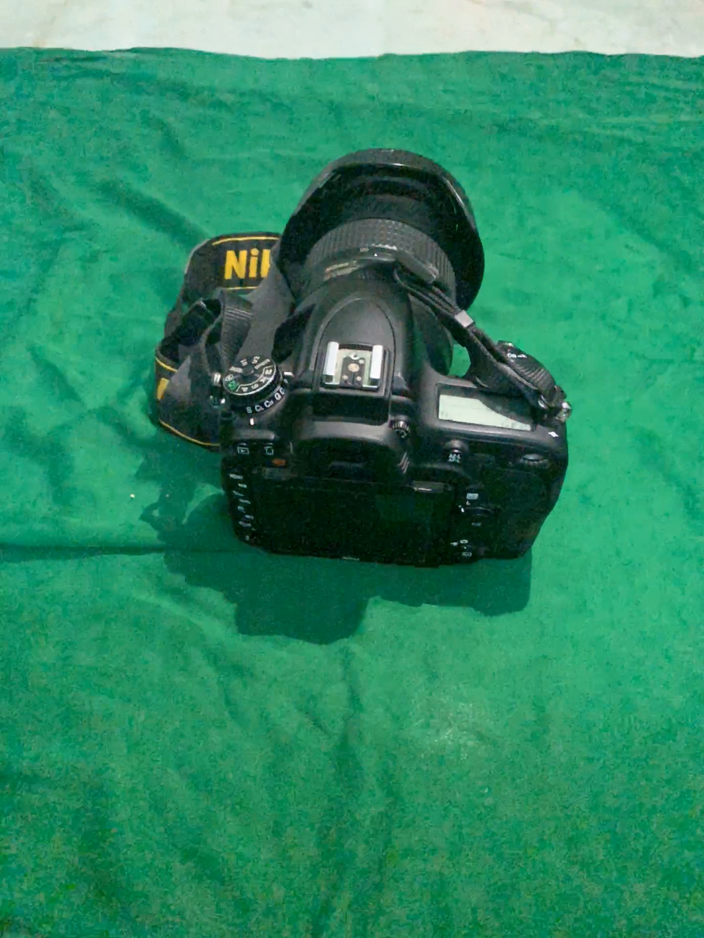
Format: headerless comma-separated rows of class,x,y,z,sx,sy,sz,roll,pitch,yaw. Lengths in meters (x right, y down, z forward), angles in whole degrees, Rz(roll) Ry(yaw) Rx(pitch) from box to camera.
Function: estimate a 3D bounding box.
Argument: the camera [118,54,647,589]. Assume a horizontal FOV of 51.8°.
camera,0.023,-0.099,0.366,0.170,0.100,0.291,5,48,4
